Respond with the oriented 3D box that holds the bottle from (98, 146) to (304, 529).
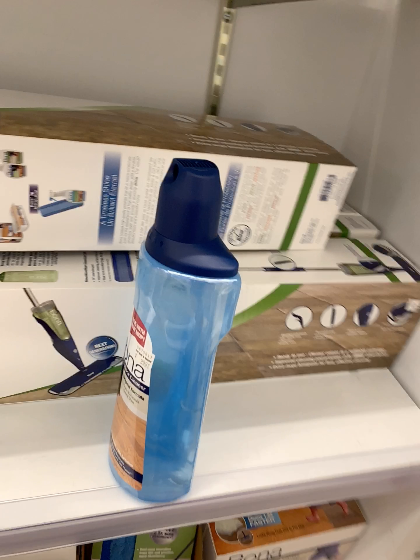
[{"bbox_3d":[-0.028,0.052,0.331,0.080,0.279,0.100,-9,37,-29],"label":"bottle"}]
